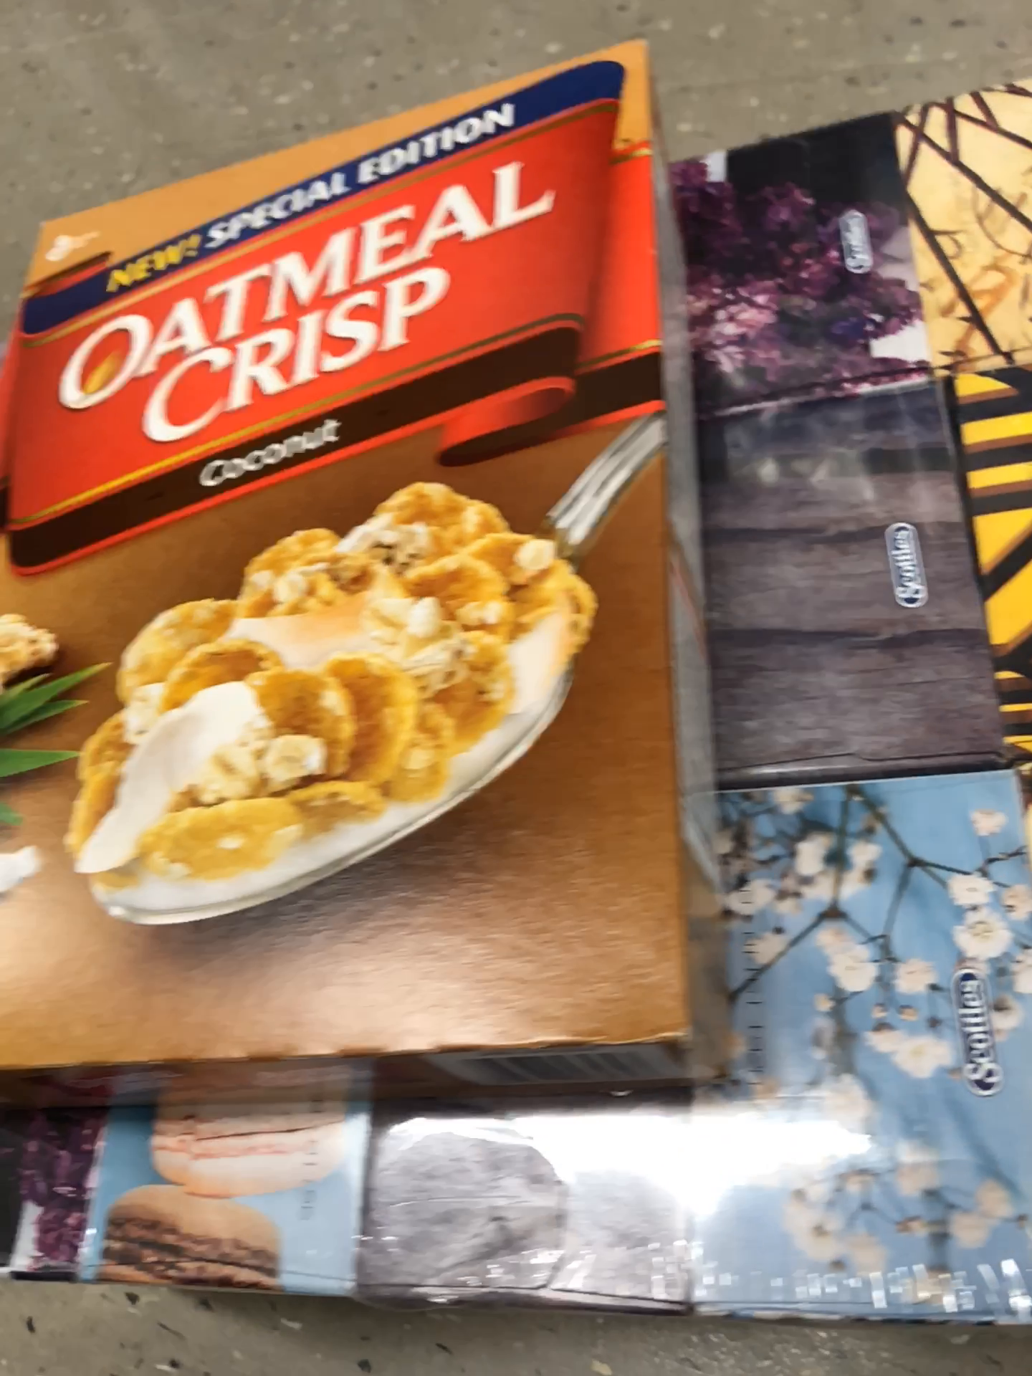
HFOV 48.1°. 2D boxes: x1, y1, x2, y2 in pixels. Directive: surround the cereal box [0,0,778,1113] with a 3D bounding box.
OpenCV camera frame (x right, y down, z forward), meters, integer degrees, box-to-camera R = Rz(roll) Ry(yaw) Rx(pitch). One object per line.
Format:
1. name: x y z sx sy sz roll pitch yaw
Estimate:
1. cereal box: -0.055 -0.052 0.299 0.211 0.060 0.290 -11 56 20
